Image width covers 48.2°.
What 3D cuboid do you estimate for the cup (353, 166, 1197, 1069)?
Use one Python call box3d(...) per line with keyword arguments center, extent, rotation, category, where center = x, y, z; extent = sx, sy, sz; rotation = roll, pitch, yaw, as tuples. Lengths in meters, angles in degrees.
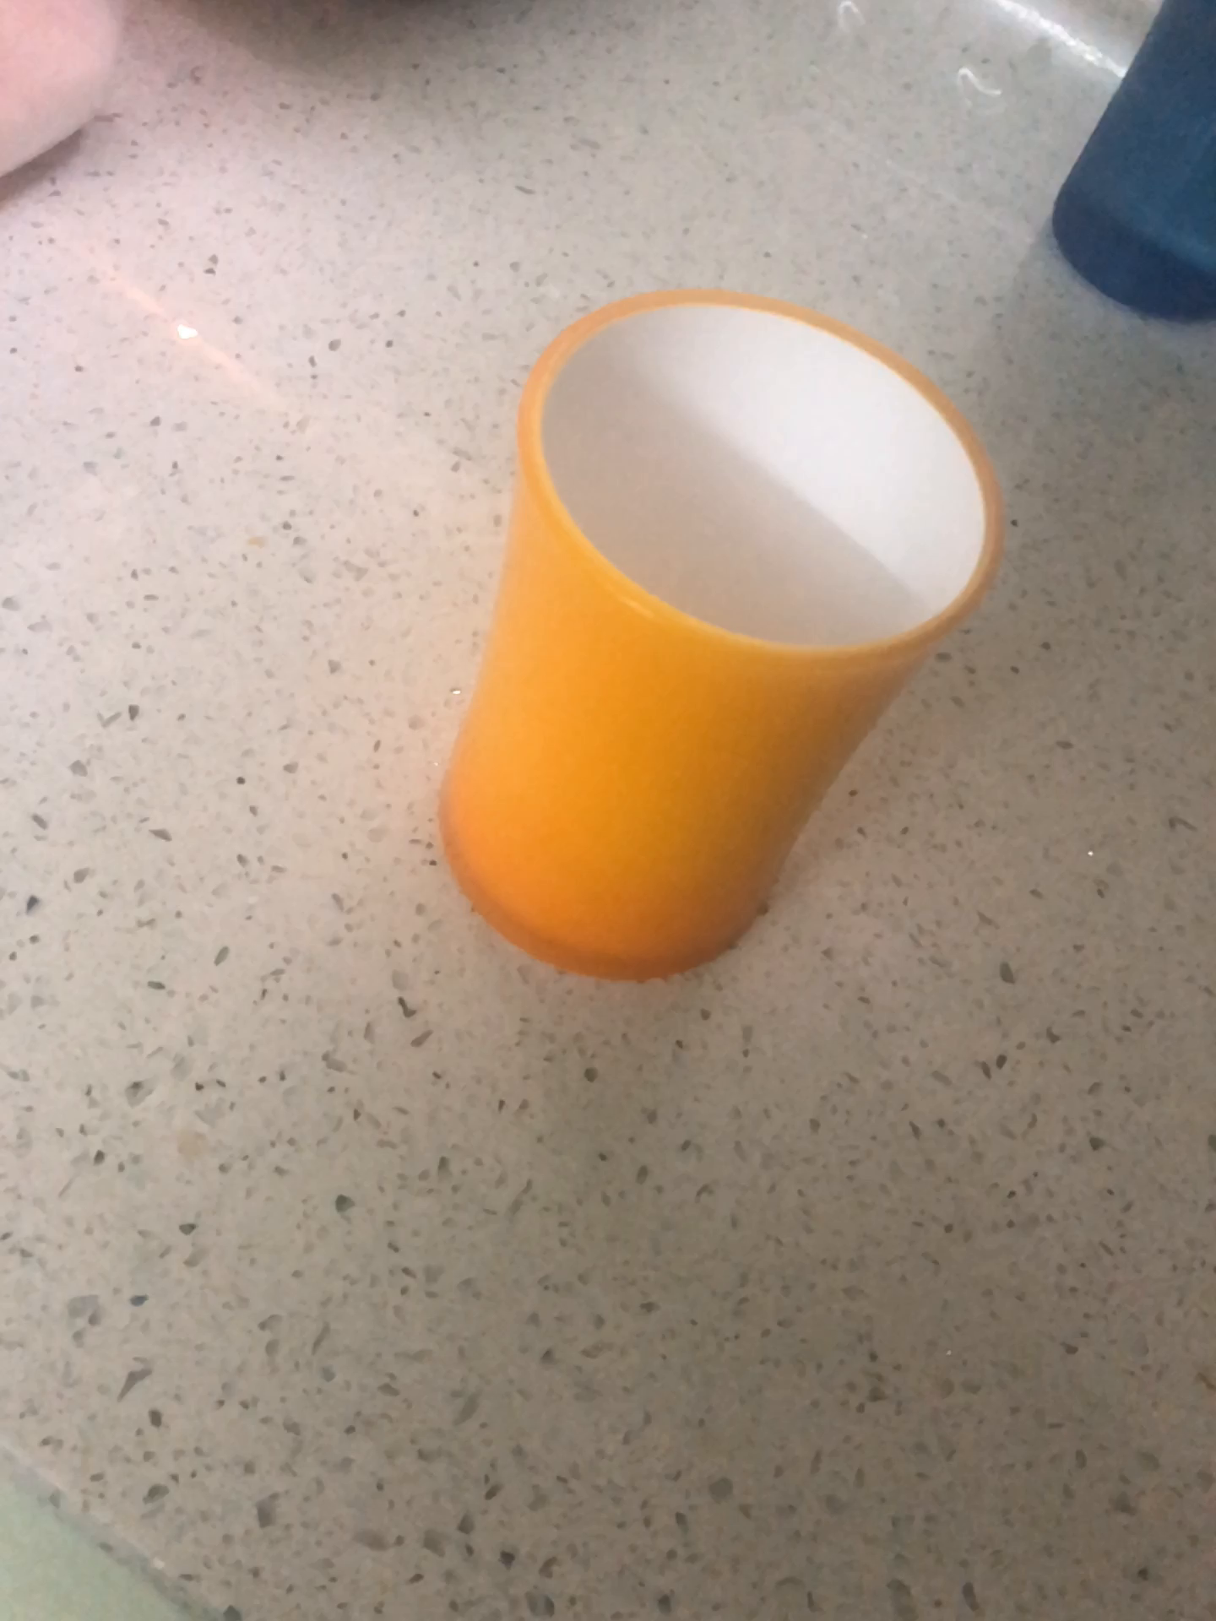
box3d(center=(0.015, -0.028, 0.228), extent=(0.080, 0.110, 0.080), rotation=(7, 57, -10), category="cup")
